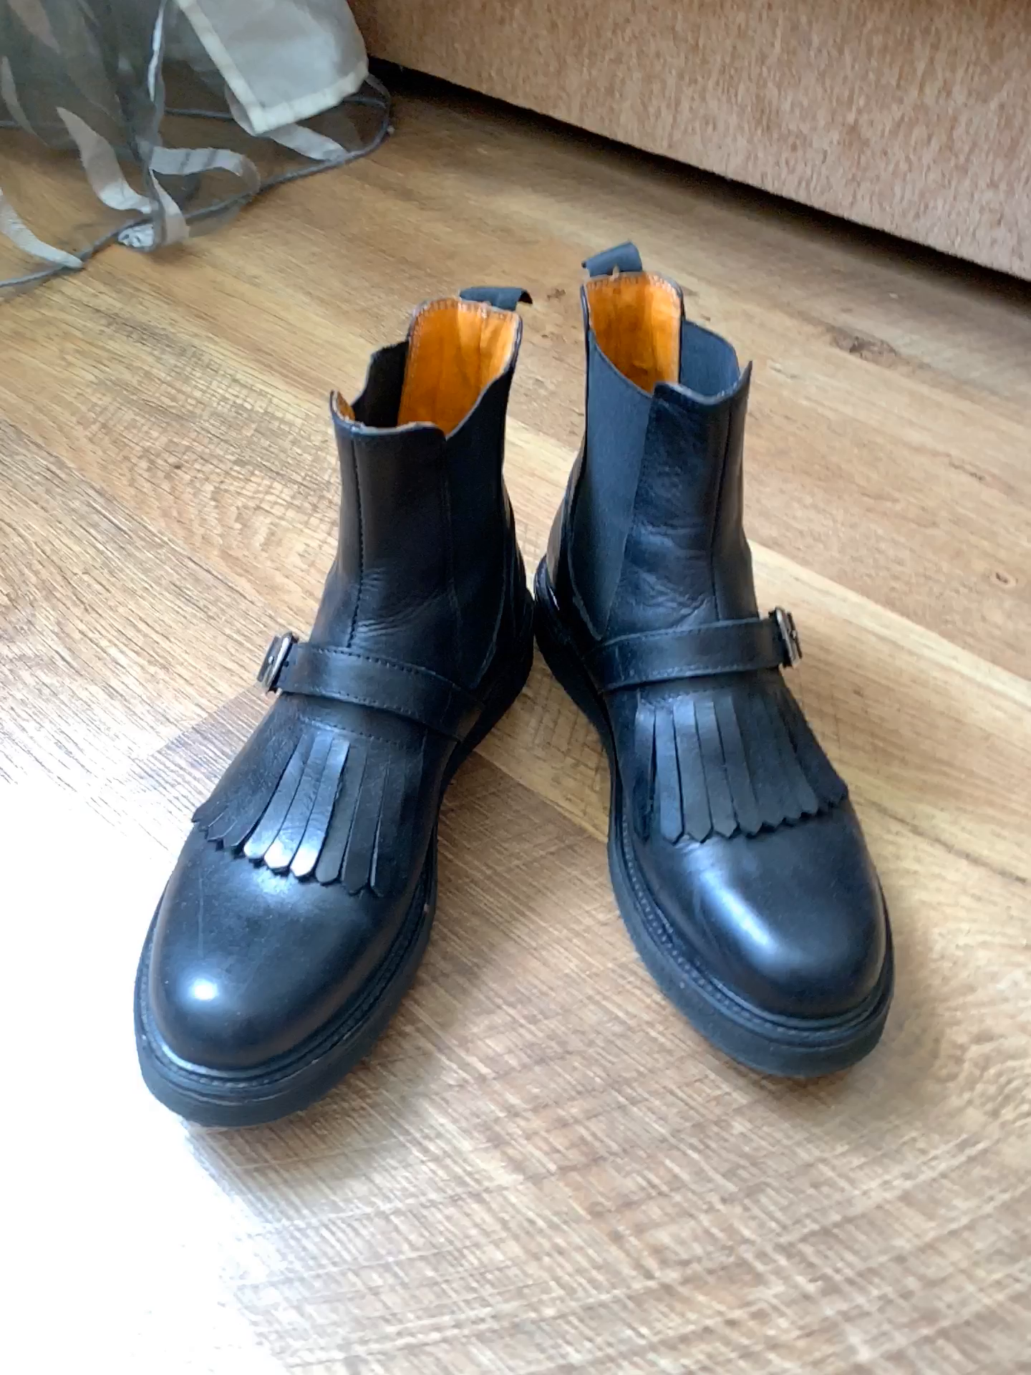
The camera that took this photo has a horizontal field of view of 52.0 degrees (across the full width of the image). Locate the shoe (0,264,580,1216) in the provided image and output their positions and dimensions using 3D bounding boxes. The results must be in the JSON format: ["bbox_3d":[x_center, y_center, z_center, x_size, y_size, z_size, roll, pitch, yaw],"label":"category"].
[{"bbox_3d":[-0.059,0.000,0.343,0.089,0.151,0.261,13,49,10],"label":"shoe"}]

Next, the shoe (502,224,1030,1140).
[{"bbox_3d":[0.074,-0.019,0.351,0.100,0.149,0.261,-9,48,-10],"label":"shoe"}]
